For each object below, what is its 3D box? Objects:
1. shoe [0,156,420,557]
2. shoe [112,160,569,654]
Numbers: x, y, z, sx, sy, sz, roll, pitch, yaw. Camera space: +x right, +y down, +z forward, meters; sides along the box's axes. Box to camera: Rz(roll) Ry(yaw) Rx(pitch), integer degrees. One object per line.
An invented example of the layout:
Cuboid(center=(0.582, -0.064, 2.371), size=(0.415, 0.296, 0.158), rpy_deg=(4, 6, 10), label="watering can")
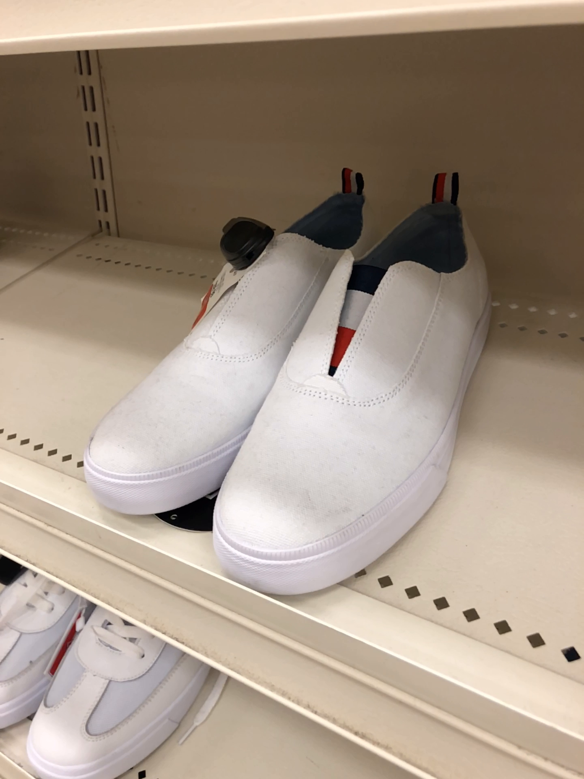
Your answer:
Cuboid(center=(-0.030, -0.050, 0.382), size=(0.100, 0.089, 0.292), rpy_deg=(14, 39, 30), label="shoe")
Cuboid(center=(0.058, -0.027, 0.358), size=(0.100, 0.109, 0.302), rpy_deg=(14, 39, 30), label="shoe")
